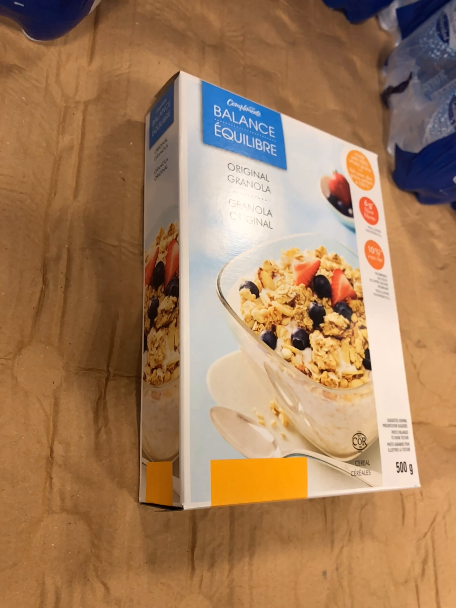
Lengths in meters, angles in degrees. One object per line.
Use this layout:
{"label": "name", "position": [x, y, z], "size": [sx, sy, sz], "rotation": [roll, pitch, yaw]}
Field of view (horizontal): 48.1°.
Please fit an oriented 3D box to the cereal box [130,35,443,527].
{"label": "cereal box", "position": [0.036, -0.010, 0.314], "size": [0.181, 0.050, 0.250], "rotation": [9, 69, -34]}
